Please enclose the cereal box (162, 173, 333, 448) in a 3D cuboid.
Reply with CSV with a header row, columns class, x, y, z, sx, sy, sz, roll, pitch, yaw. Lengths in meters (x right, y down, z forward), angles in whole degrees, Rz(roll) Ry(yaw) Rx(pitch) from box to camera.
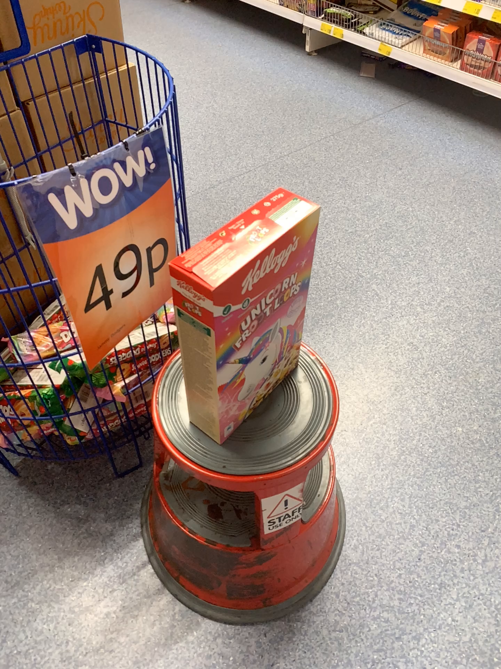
class,x,y,z,sx,sy,sz,roll,pitch,yaw
cereal box,0.003,-0.022,0.652,0.070,0.287,0.211,30,53,24
